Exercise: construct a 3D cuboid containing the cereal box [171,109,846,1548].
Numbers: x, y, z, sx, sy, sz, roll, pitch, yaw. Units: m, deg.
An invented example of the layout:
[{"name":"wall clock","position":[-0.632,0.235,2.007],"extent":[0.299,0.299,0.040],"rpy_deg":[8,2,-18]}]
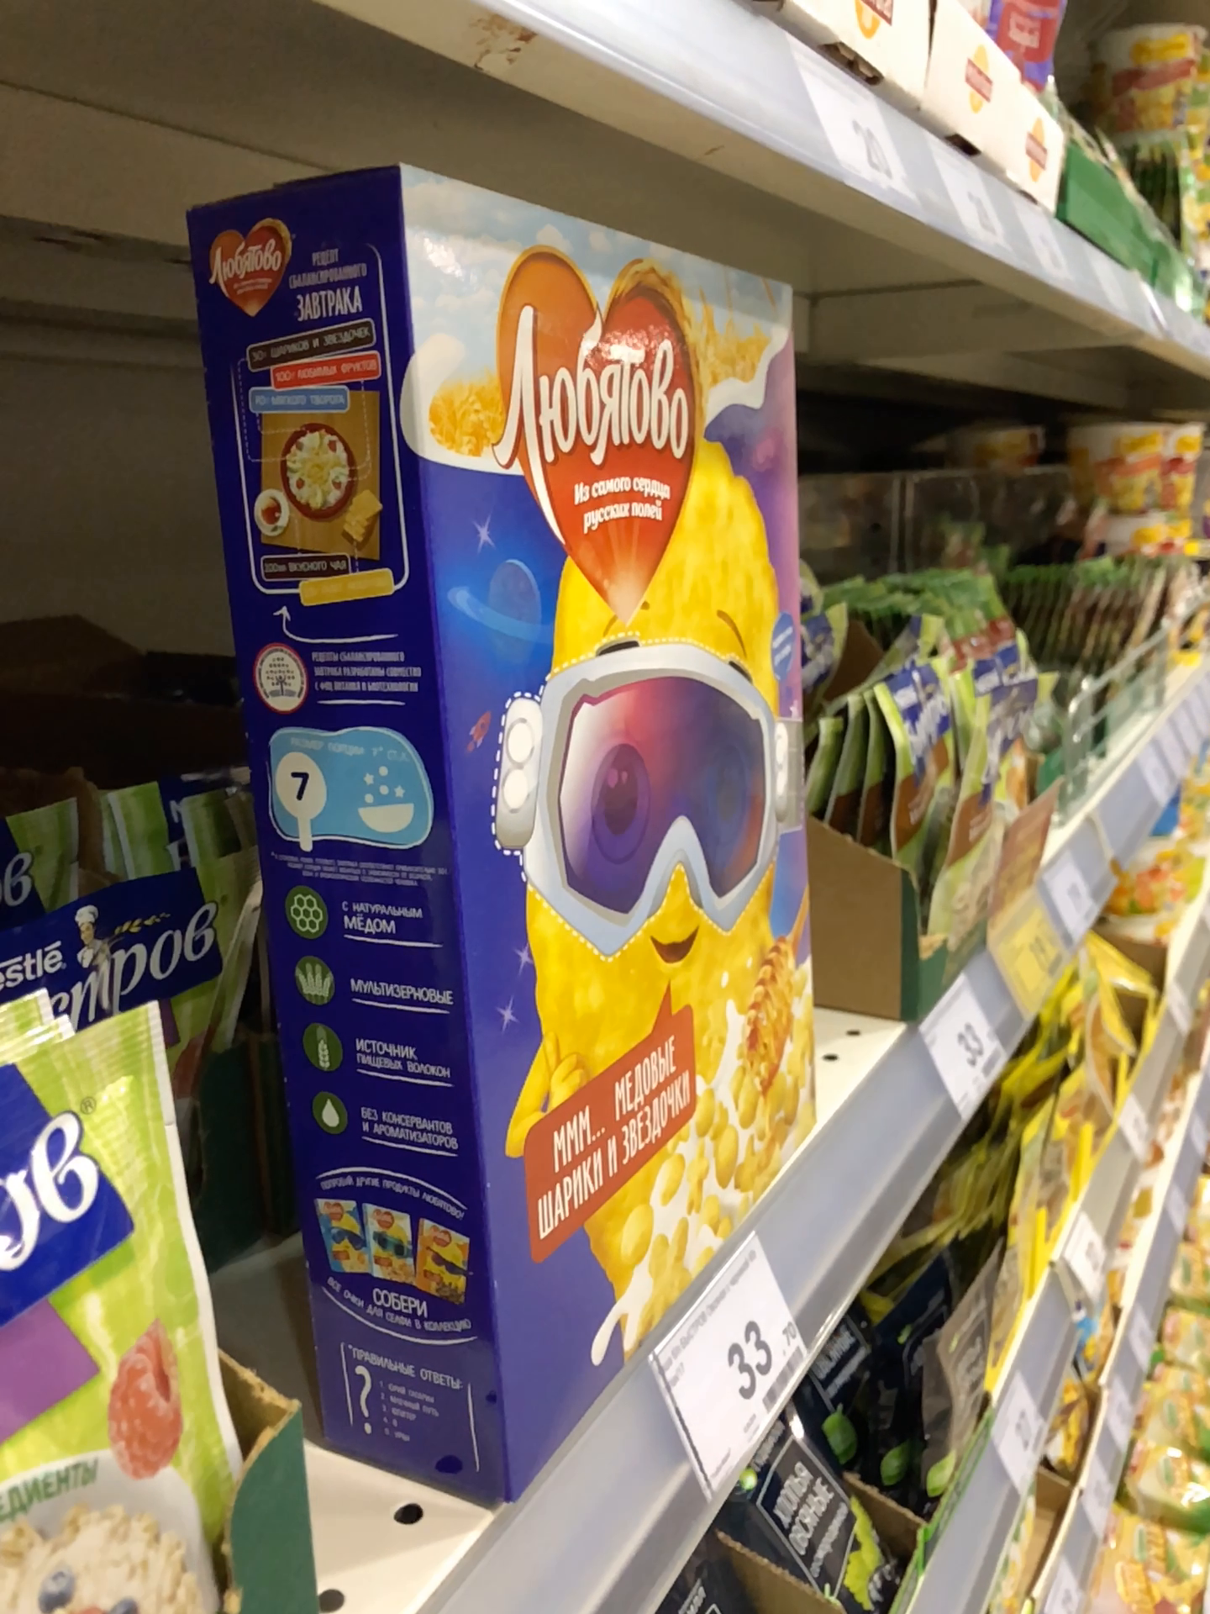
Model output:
[{"name":"cereal box","position":[0.001,-0.005,0.333],"extent":[0.050,0.259,0.201],"rpy_deg":[3,14,28]}]
